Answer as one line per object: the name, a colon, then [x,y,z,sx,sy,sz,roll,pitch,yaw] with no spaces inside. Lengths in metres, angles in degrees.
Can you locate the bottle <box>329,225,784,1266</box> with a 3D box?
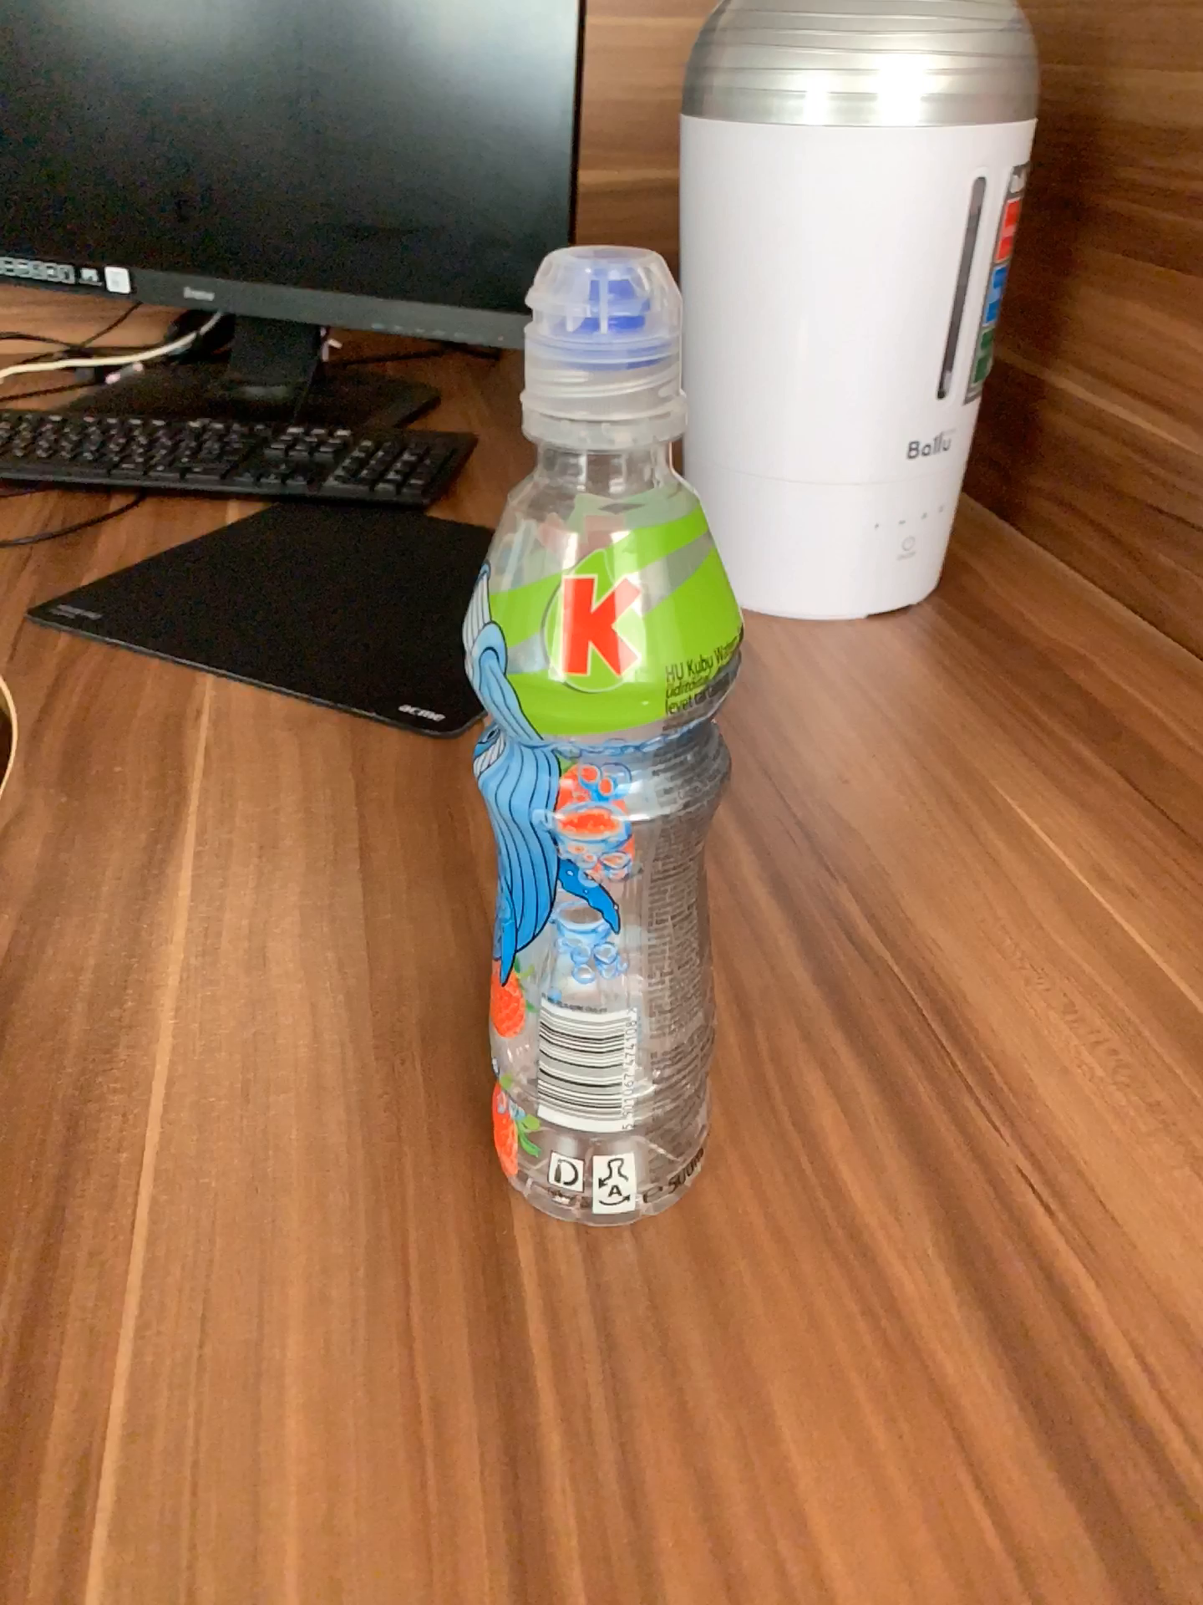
bottle: [-0.005,-0.003,0.299,0.070,0.239,0.070,0,32,0]
